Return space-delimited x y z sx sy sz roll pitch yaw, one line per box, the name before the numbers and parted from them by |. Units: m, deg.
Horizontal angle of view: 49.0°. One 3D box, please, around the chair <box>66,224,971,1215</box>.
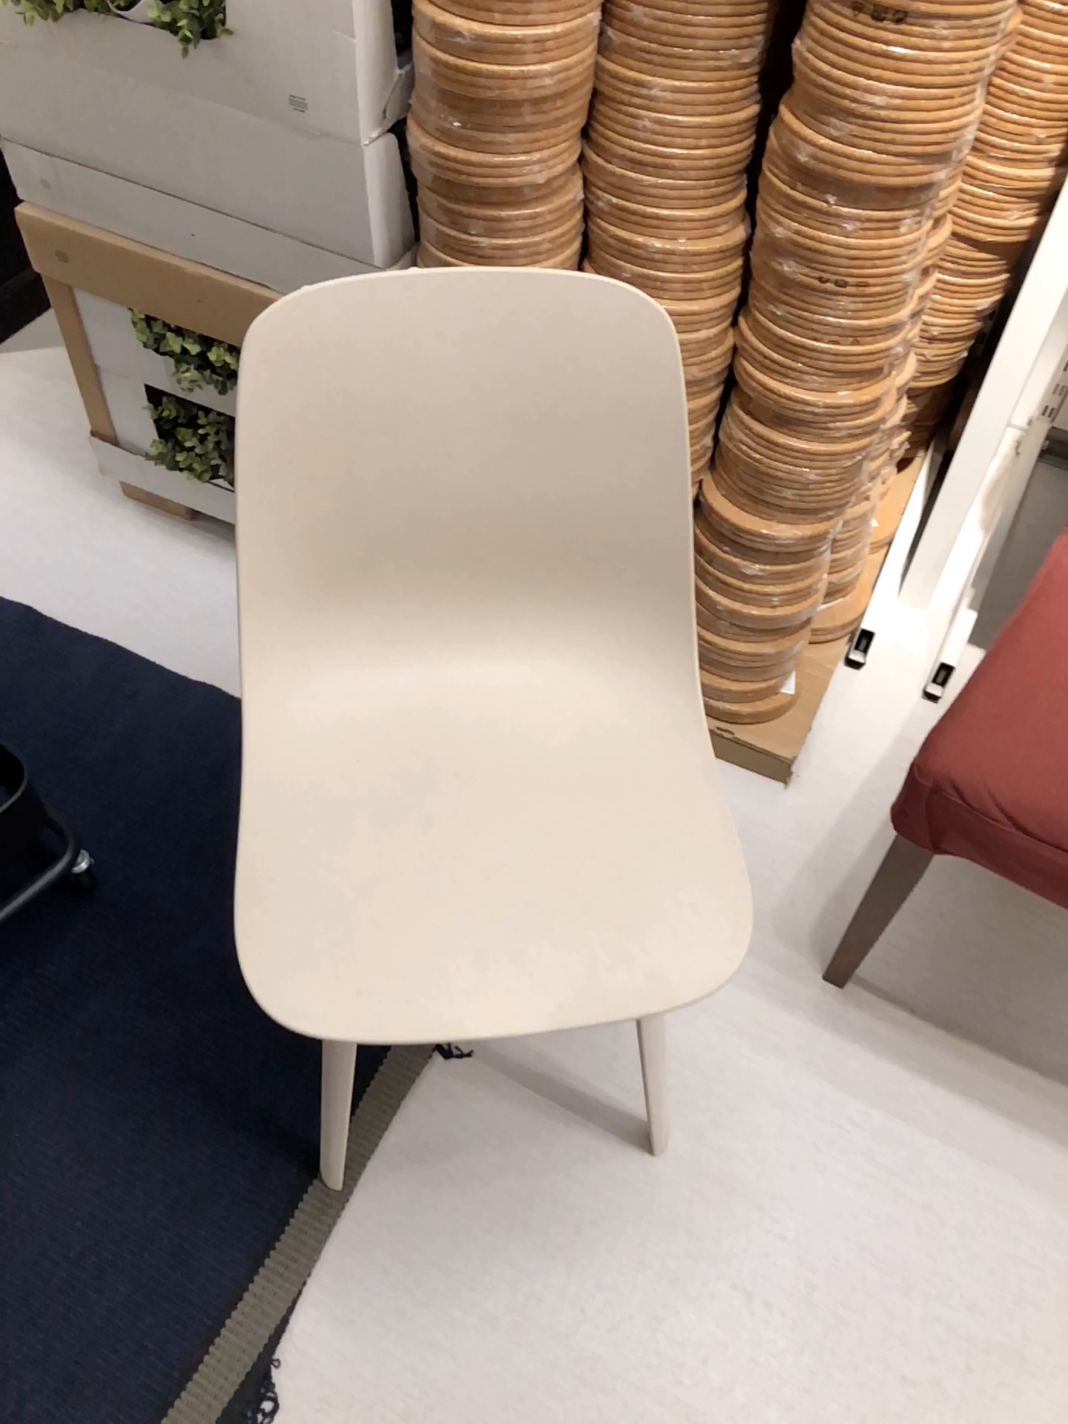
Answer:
chair | -0.035 0.055 1.005 0.450 0.696 0.493 -6 54 -5
